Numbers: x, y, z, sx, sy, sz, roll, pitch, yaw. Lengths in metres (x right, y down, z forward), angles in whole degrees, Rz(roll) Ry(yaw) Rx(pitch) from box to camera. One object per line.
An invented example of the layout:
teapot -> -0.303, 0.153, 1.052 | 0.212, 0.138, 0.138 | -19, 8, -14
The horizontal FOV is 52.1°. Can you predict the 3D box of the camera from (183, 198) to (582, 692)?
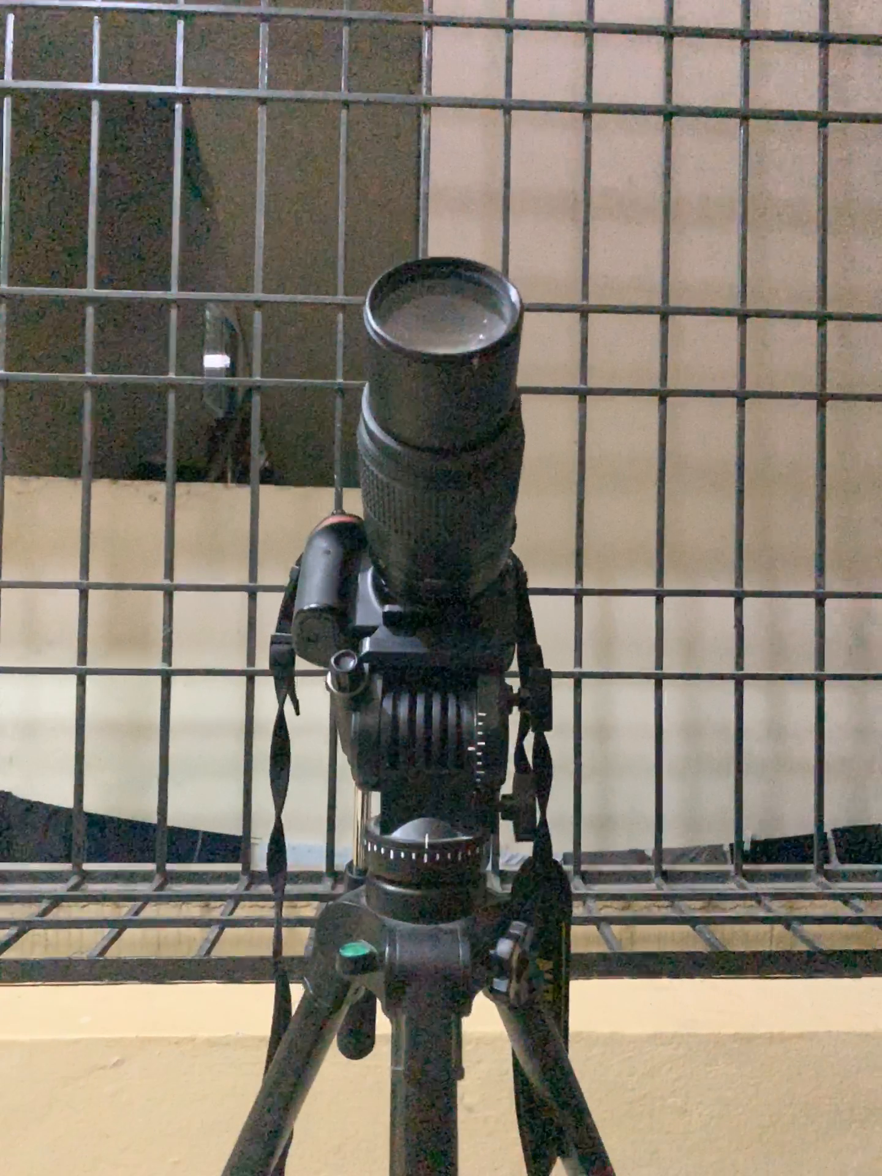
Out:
camera -> -0.019, -0.054, 0.419 | 0.136, 0.101, 0.209 | 1, -41, 1
